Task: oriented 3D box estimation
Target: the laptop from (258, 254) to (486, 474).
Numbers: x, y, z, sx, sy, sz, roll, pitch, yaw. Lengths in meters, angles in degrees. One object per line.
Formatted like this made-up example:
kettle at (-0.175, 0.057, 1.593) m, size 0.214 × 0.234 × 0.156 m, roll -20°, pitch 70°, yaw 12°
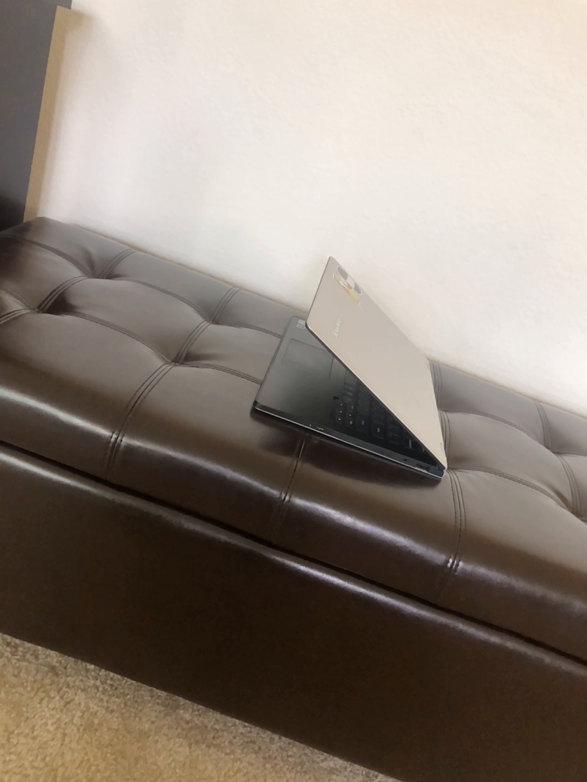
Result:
laptop at (0.091, -0.051, 0.760) m, size 0.197 × 0.097 × 0.294 m, roll 20°, pitch 25°, yaw -1°
